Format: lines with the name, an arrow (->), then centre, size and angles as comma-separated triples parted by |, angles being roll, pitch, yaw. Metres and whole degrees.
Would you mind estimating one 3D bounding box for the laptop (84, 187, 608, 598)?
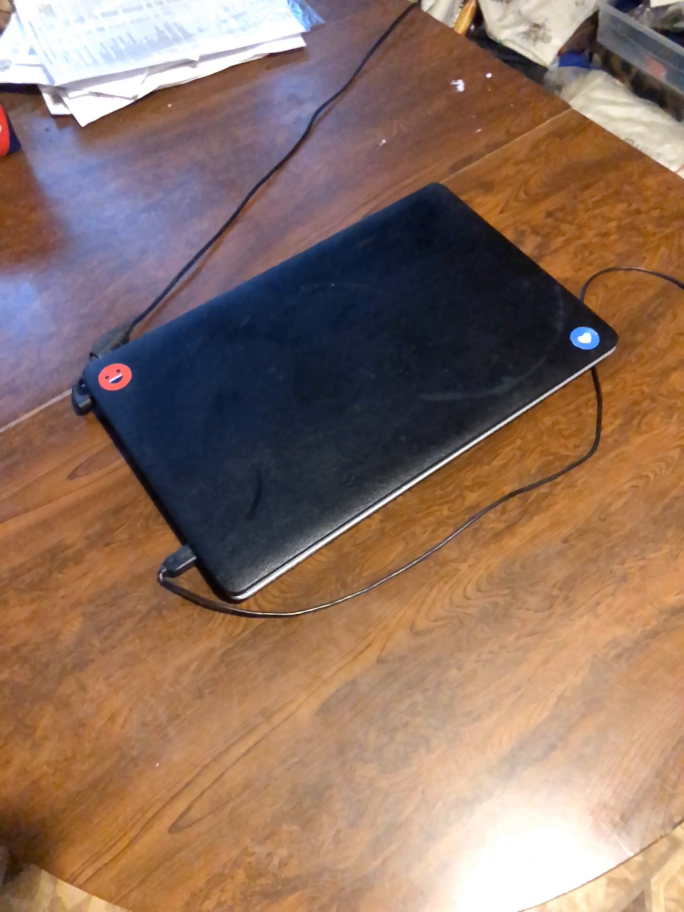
laptop -> 0.006, -0.081, 0.621 | 0.366, 0.007, 0.239 | -32, 64, -18
